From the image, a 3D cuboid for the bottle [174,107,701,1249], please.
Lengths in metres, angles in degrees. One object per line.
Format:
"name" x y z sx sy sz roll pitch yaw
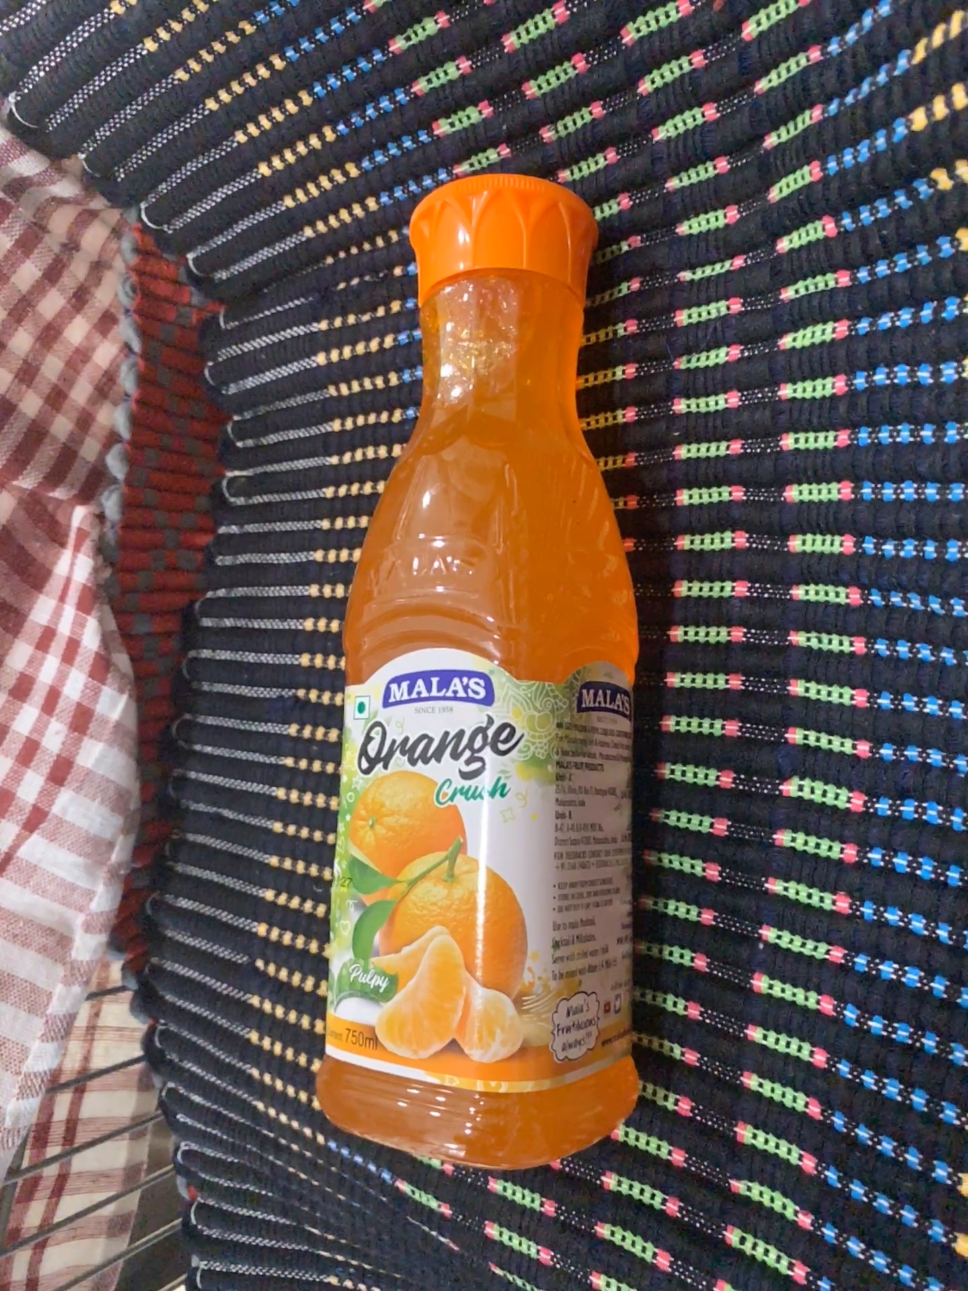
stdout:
"bottle" -0.005 0.005 0.247 0.080 0.080 0.220 -2 80 35
